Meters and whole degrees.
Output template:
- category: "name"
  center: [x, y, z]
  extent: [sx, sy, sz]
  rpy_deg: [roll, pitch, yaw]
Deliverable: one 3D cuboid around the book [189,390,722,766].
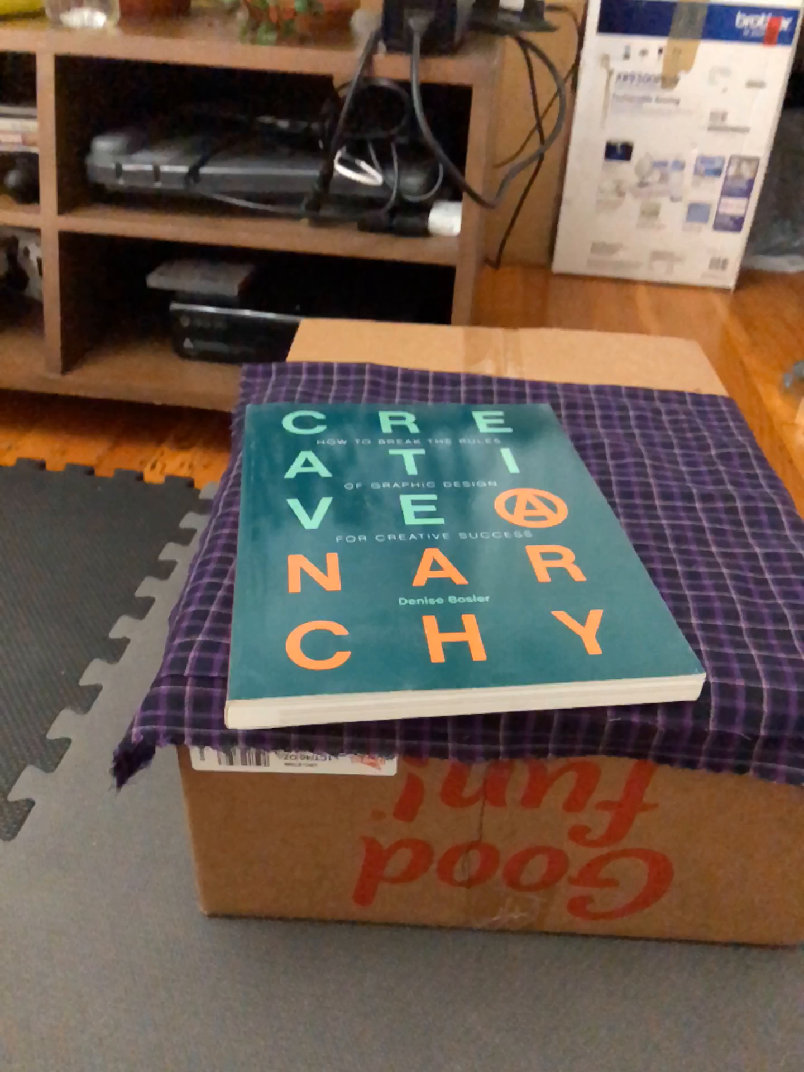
- category: "book"
  center: [0.007, -0.005, 0.489]
  extent: [0.220, 0.020, 0.302]
  rpy_deg: [-2, 35, -7]
